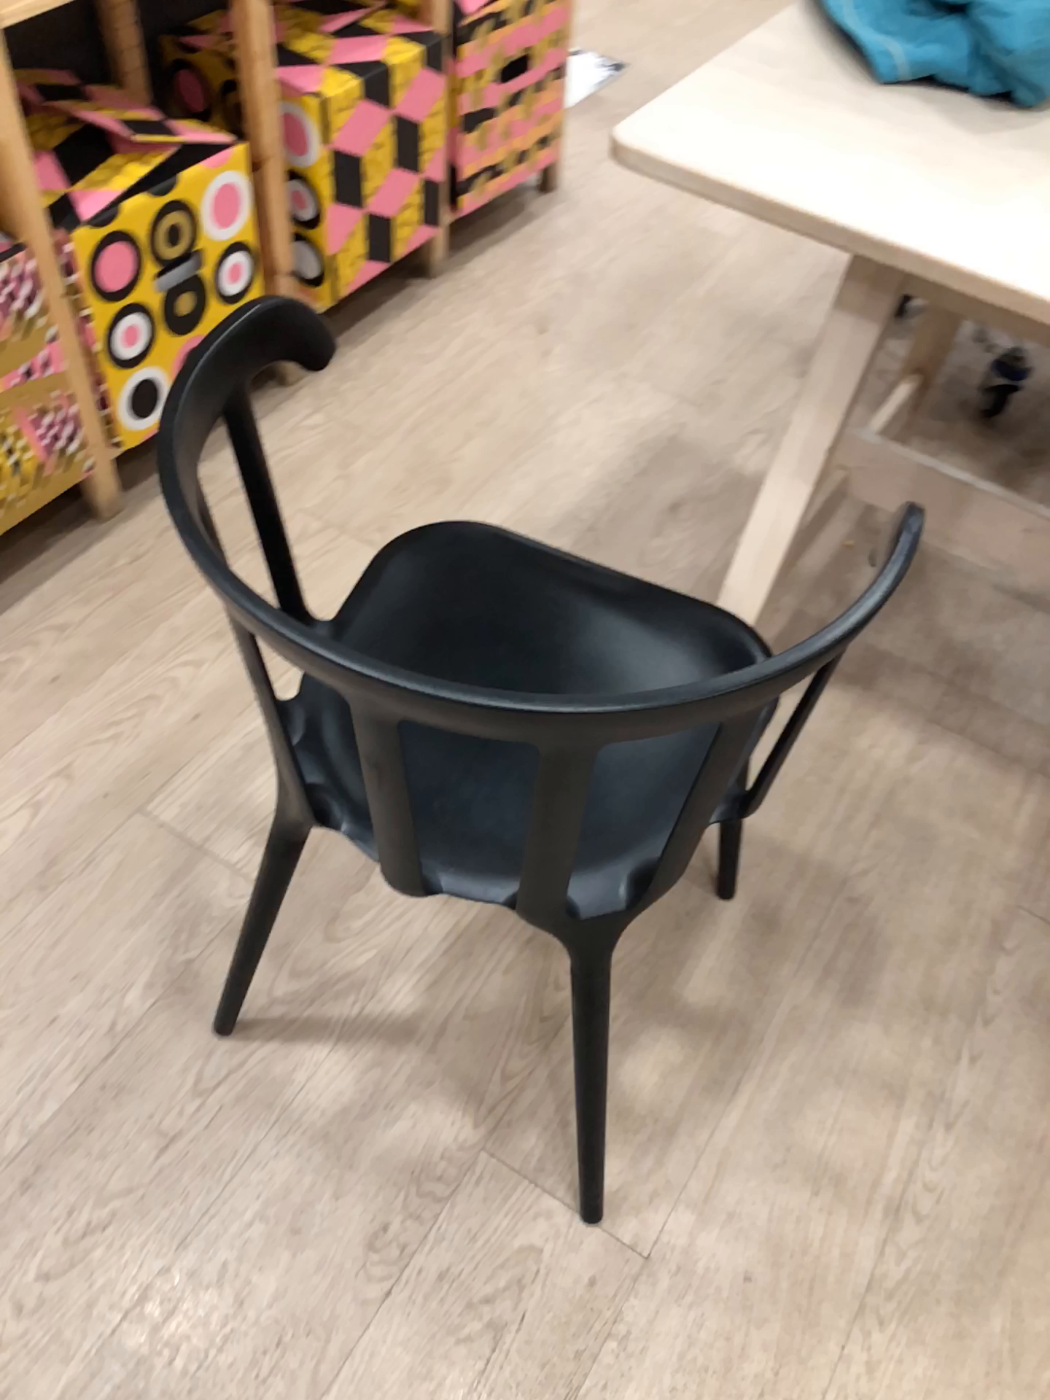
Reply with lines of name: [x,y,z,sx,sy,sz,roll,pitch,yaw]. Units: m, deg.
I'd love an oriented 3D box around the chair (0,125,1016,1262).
chair: [-0.017,0.016,1.004,0.531,0.686,0.532,22,52,13]
